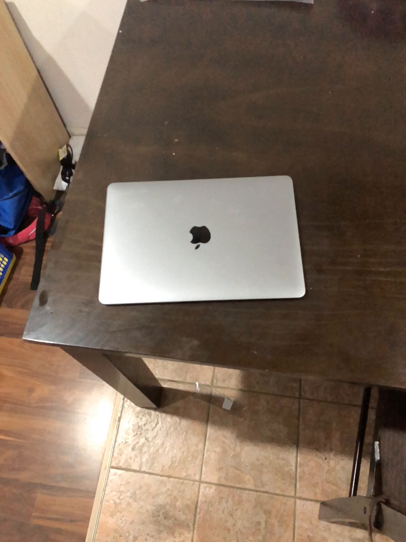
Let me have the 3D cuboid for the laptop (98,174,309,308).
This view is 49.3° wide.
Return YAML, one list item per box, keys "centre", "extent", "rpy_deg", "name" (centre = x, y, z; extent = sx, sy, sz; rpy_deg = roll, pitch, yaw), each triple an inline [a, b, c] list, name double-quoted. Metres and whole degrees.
- centre: [-0.001, -0.048, 0.620]
  extent: [0.275, 0.002, 0.196]
  rpy_deg: [-2, 66, 0]
  name: "laptop"
